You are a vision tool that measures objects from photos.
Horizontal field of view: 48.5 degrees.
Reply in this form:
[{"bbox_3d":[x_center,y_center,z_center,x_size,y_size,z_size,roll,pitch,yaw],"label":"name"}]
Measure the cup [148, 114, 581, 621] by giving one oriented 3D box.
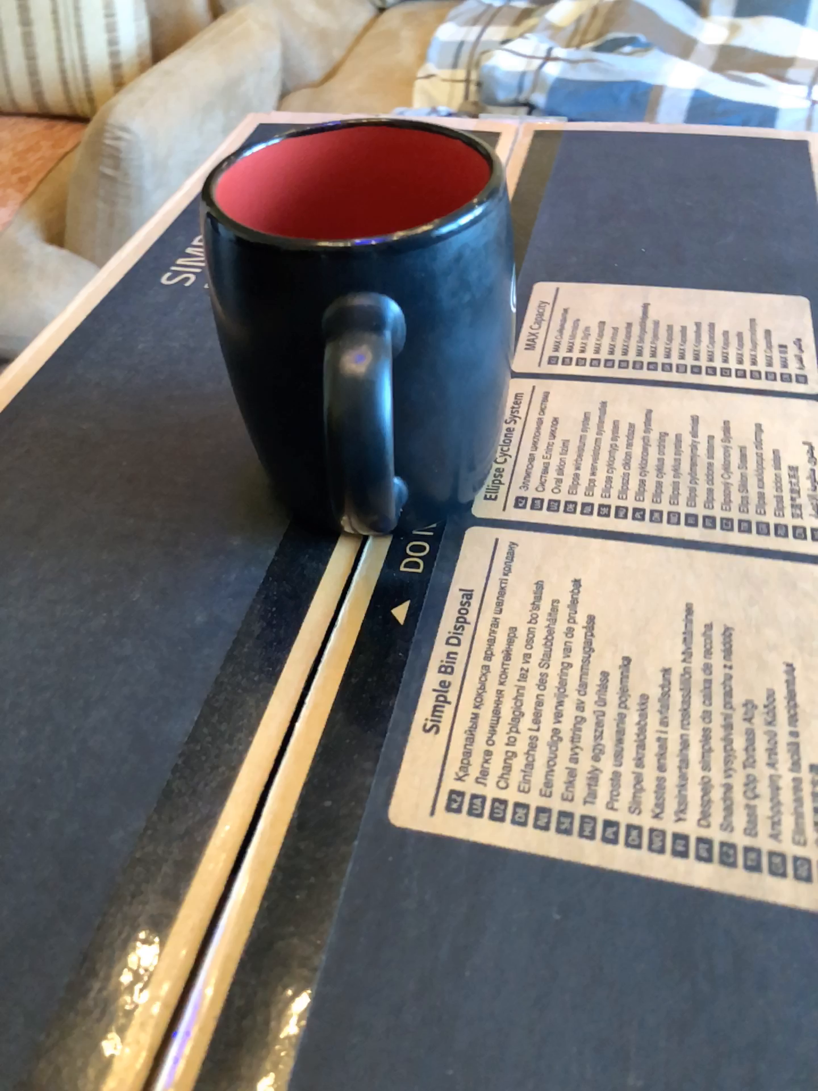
[{"bbox_3d":[-0.008,-0.054,0.263,0.090,0.090,0.121,-1,45,1],"label":"cup"}]
